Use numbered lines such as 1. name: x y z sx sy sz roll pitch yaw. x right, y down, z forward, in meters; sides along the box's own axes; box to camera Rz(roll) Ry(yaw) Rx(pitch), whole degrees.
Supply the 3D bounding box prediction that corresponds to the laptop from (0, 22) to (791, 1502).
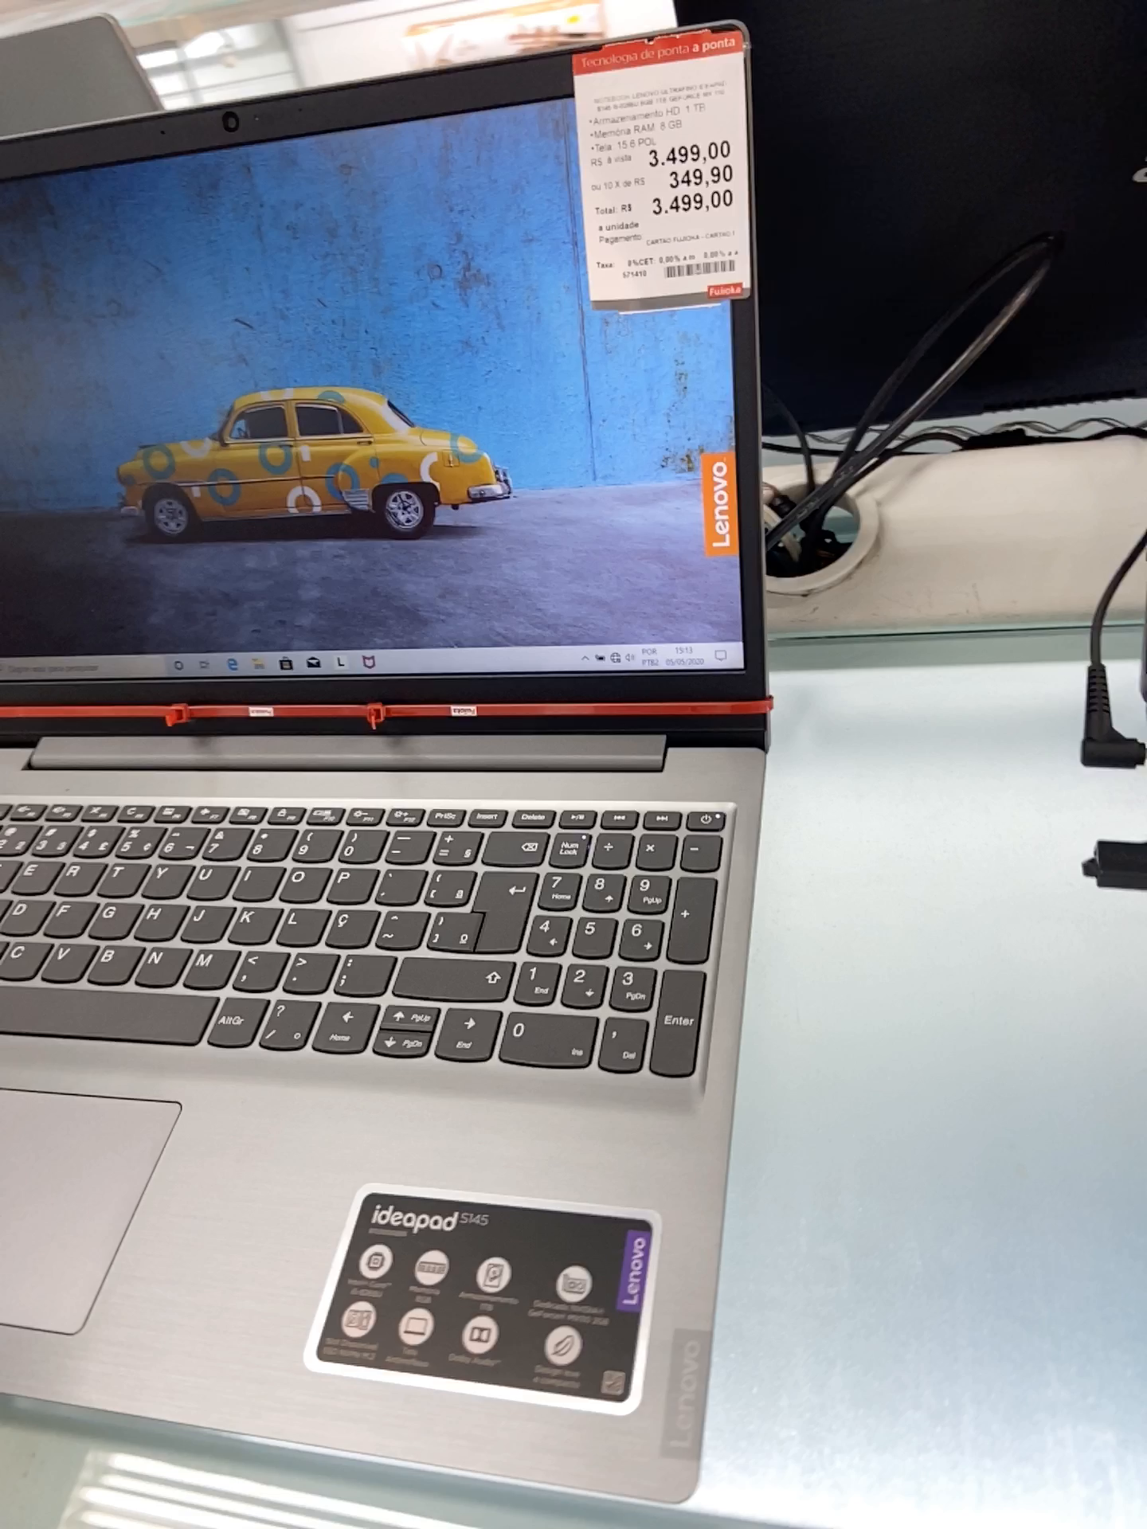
1. laptop: -0.136 -0.031 0.370 0.364 0.214 0.353 0 45 16
